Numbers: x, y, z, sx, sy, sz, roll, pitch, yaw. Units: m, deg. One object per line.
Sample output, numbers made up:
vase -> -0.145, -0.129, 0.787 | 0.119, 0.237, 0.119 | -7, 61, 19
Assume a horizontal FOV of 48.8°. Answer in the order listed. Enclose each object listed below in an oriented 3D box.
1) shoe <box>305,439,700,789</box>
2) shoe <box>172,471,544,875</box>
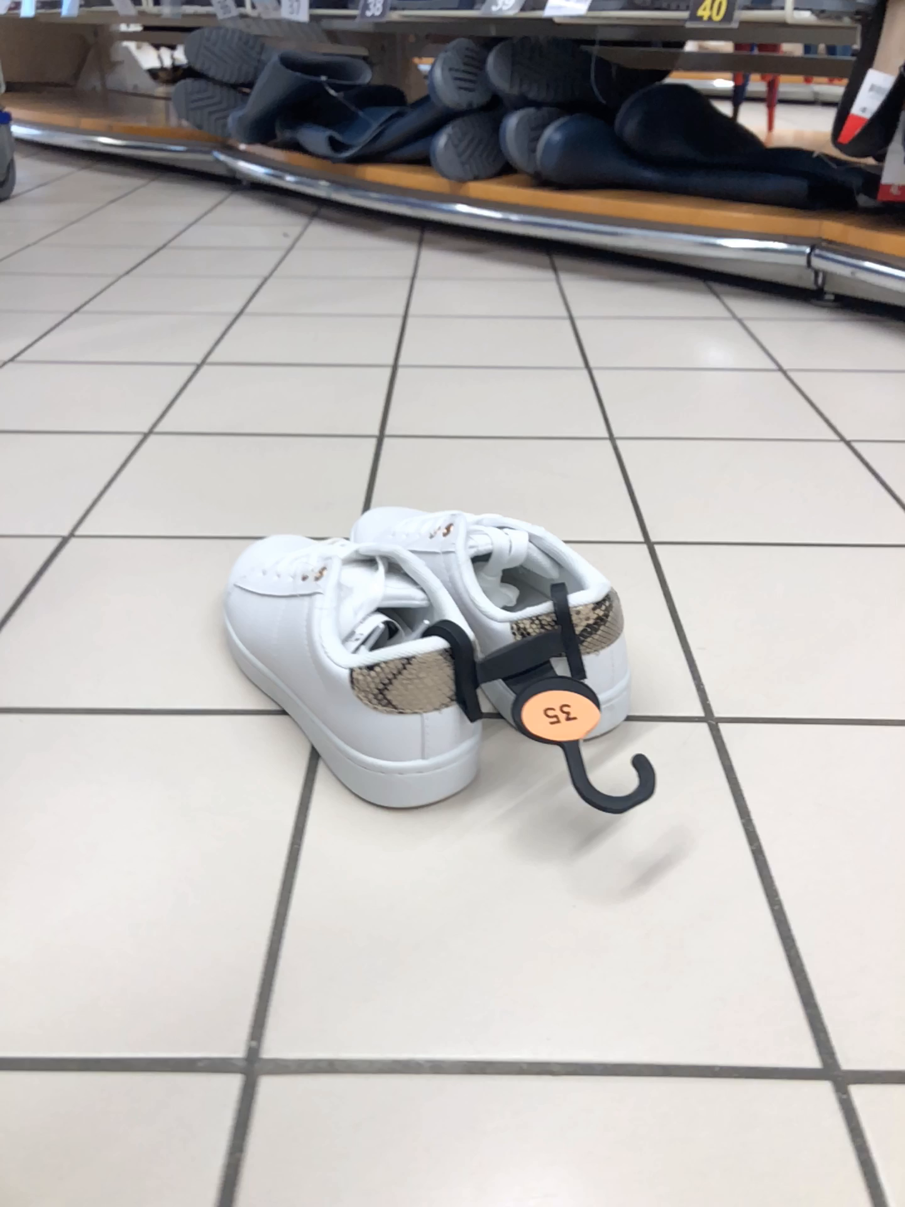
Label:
shoe -> 0.014, -0.010, 0.562 | 0.090, 0.080, 0.240 | -18, 35, -29
shoe -> -0.061, 0.018, 0.518 | 0.090, 0.080, 0.241 | -16, 34, -26
